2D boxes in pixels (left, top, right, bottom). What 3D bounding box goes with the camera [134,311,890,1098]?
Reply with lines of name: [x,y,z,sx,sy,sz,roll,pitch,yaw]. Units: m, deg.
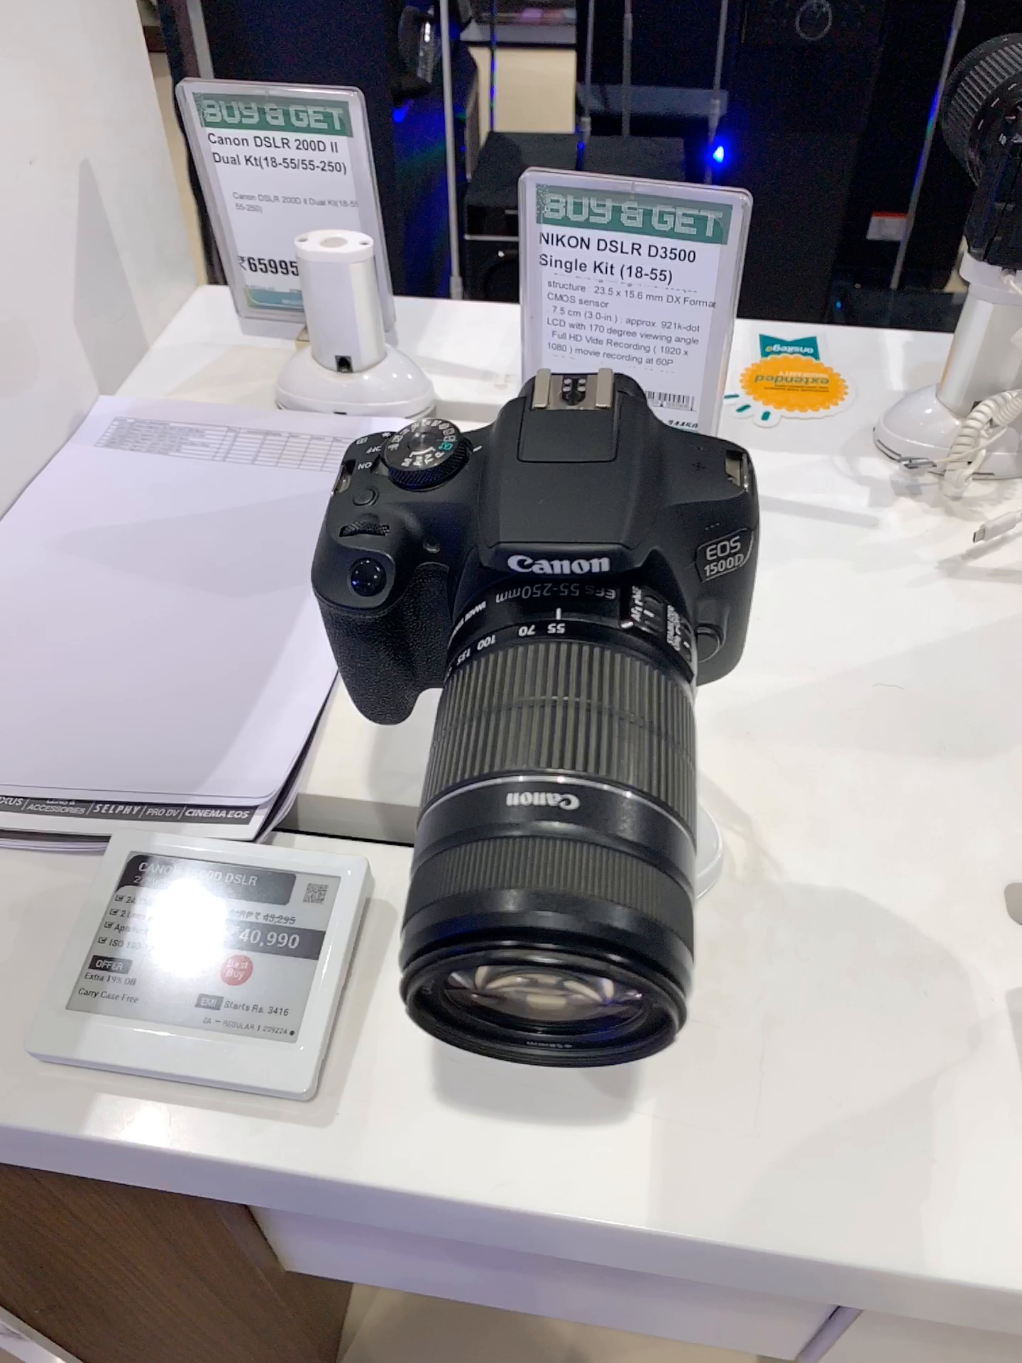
camera: [0.008,-0.008,0.277,0.130,0.090,0.191,3,47,5]
